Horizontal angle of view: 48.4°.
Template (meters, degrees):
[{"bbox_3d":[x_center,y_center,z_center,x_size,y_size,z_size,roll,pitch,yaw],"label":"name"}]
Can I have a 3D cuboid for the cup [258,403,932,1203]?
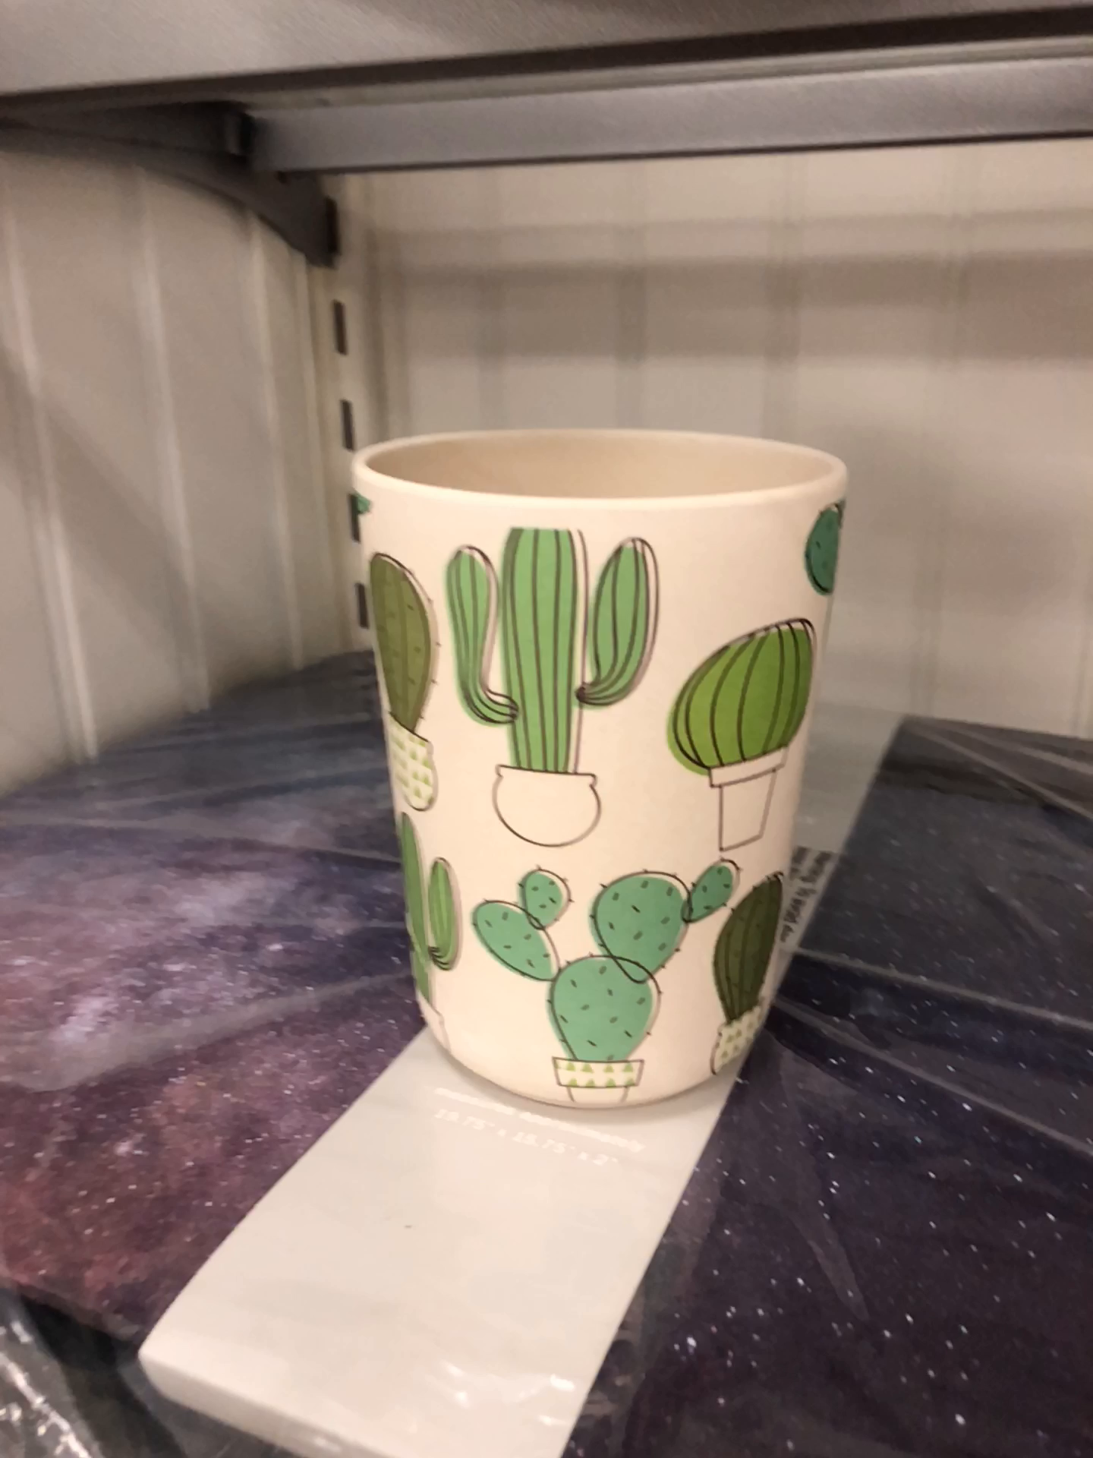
[{"bbox_3d":[0.012,0.003,0.264,0.100,0.129,0.090,15,26,37],"label":"cup"}]
